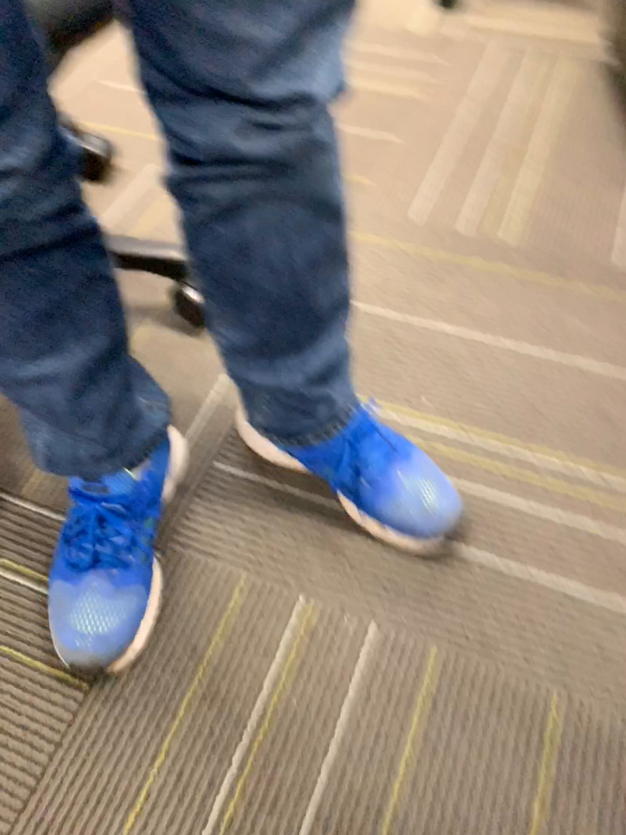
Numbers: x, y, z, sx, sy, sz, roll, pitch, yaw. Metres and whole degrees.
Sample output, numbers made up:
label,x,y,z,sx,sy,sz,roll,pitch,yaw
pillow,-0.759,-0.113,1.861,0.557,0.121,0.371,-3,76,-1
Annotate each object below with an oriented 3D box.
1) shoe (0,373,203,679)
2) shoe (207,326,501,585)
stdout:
label,x,y,z,sx,sy,sz,roll,pitch,yaw
shoe,-0.212,0.096,0.702,0.119,0.088,0.340,1,44,3
shoe,0.037,0.027,0.736,0.141,0.088,0.312,-38,51,-23
